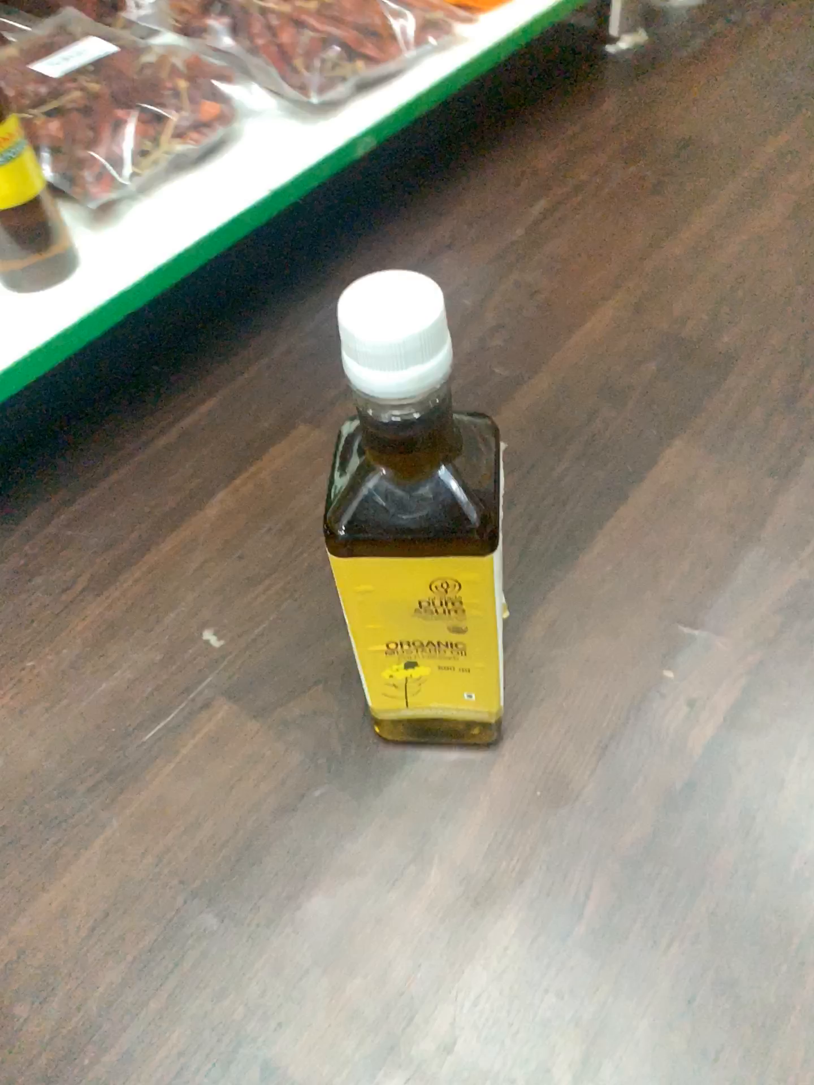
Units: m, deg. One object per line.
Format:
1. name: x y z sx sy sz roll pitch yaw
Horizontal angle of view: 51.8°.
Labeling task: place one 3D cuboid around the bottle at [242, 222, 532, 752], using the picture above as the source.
1. bottle: 0.006 0.000 0.300 0.070 0.209 0.060 -1 51 7
